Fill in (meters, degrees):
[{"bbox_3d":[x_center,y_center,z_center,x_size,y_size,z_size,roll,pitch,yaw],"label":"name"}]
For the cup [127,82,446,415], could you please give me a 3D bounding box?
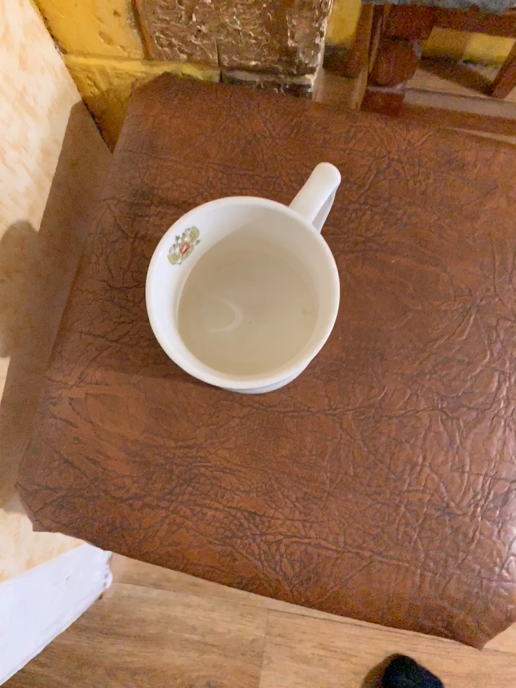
[{"bbox_3d":[0.015,-0.043,0.297,0.099,0.098,0.126,30,81,6],"label":"cup"}]
